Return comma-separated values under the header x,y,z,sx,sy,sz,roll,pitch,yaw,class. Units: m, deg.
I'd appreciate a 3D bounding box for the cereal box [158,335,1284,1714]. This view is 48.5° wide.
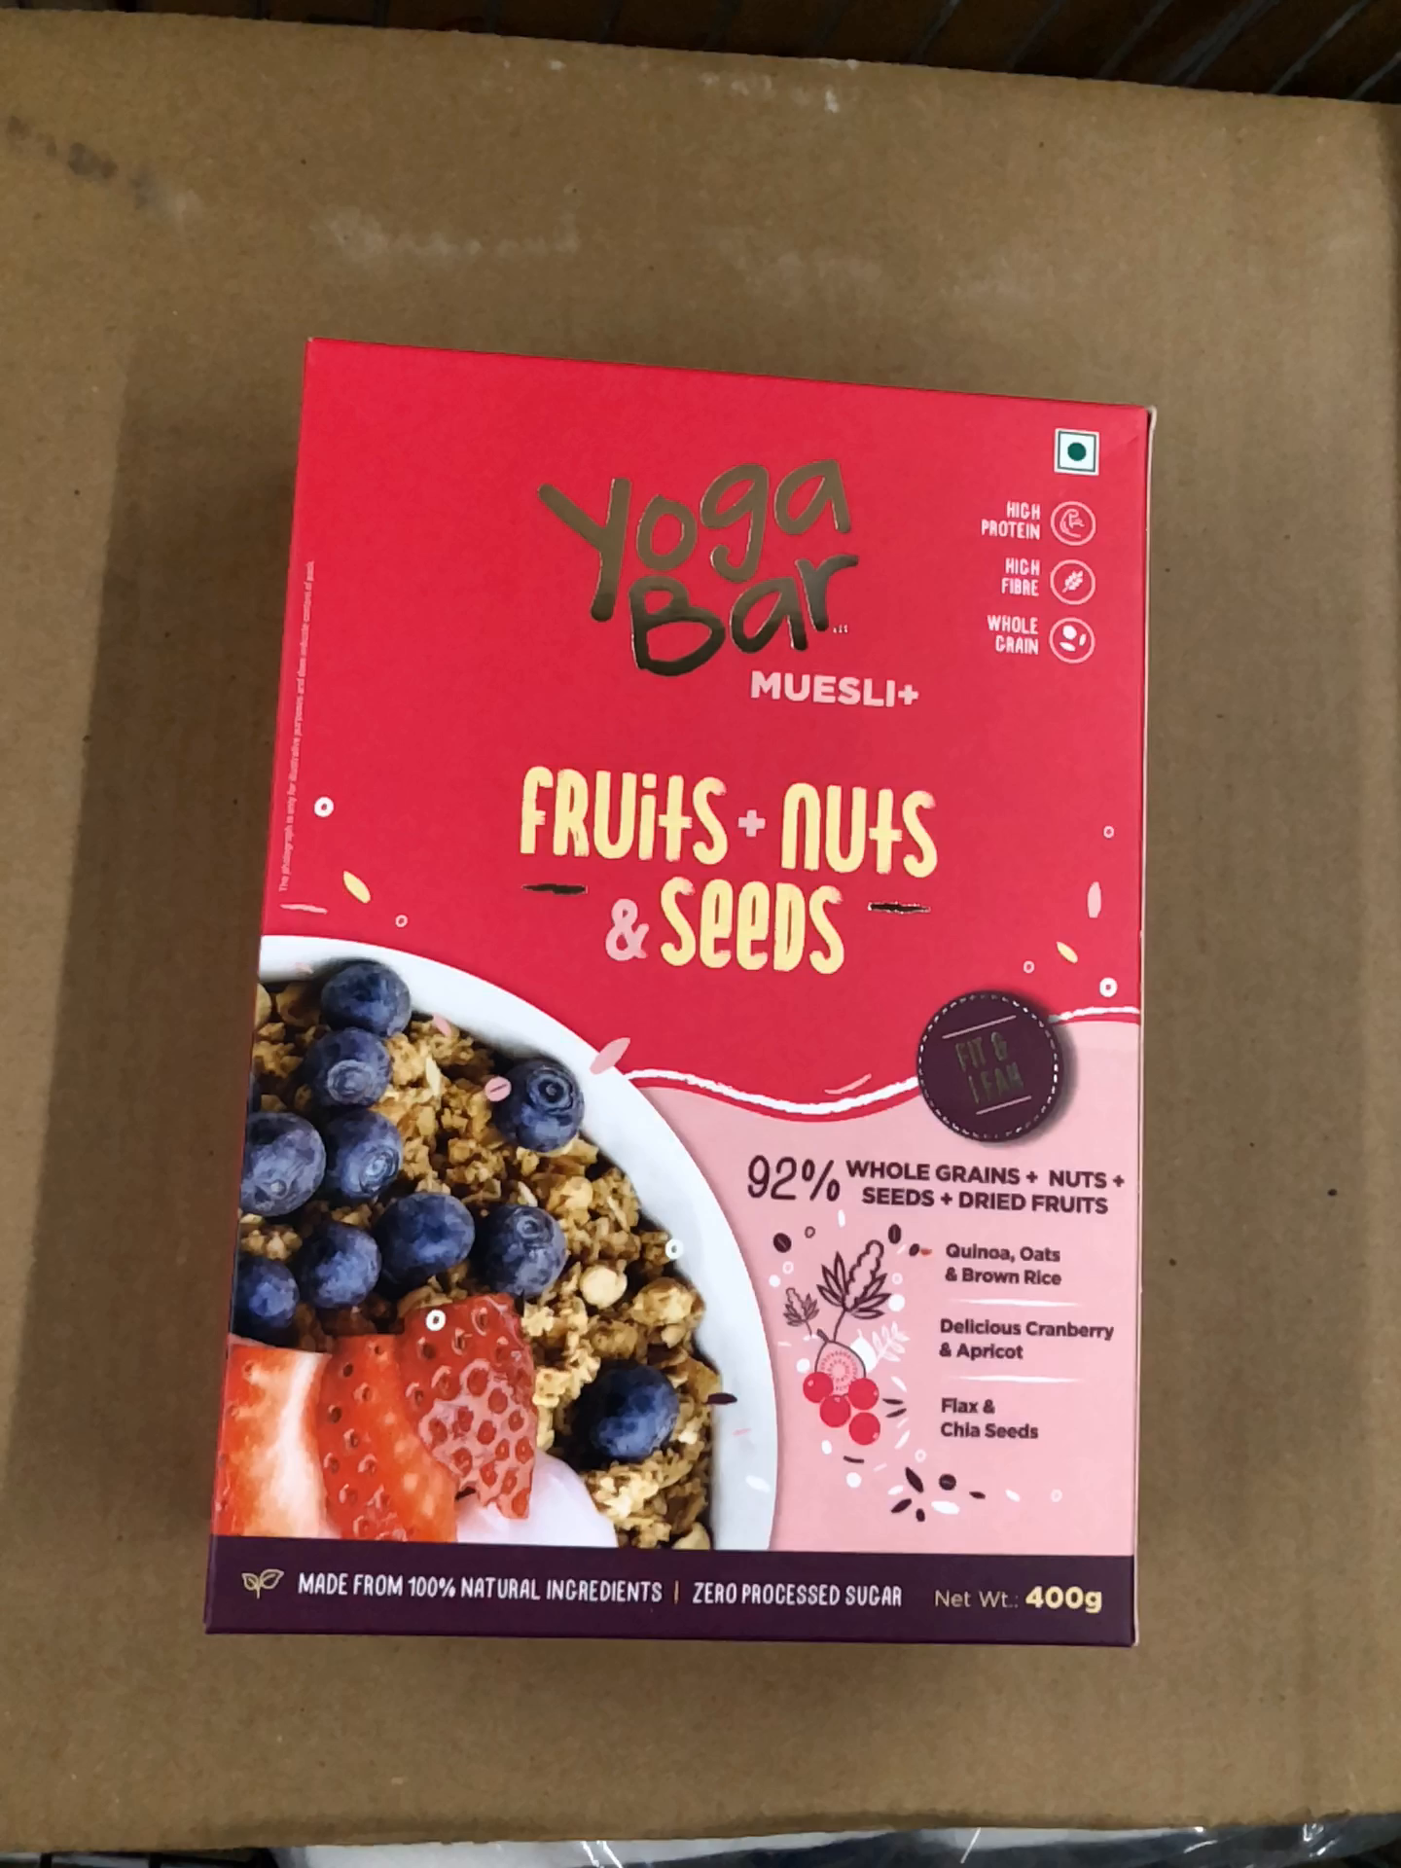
x,y,z,sx,sy,sz,roll,pitch,yaw,class
0.007,0.016,0.277,0.170,0.060,0.210,4,84,-6,cereal box
